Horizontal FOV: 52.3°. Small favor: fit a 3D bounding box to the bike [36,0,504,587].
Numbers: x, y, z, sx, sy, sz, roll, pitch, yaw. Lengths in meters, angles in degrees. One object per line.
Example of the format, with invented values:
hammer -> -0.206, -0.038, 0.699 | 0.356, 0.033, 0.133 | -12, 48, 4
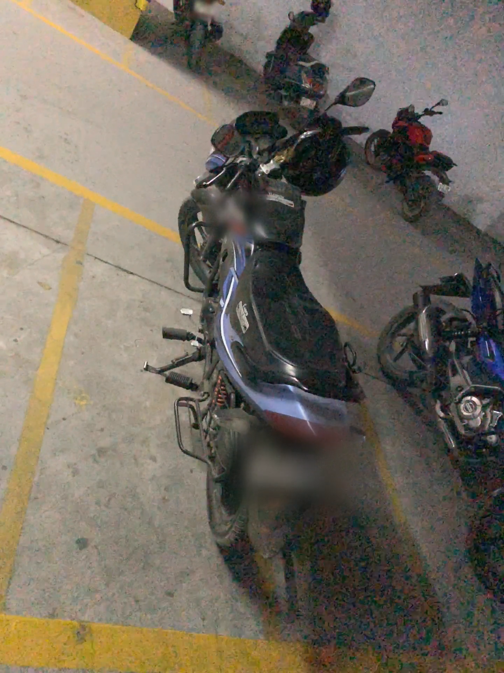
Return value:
bike -> -0.128, -0.263, 1.808 | 0.782, 1.107, 1.704 | 19, 37, -32
